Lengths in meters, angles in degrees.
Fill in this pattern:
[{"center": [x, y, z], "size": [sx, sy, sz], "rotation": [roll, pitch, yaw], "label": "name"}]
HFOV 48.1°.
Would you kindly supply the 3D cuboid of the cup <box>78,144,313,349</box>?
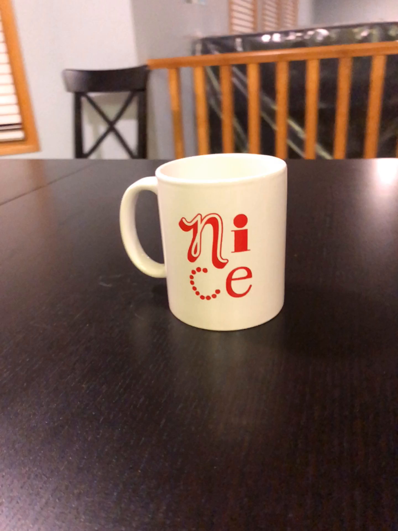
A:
[{"center": [0.006, -0.023, 0.302], "size": [0.120, 0.100, 0.100], "rotation": [6, 25, 21], "label": "cup"}]
